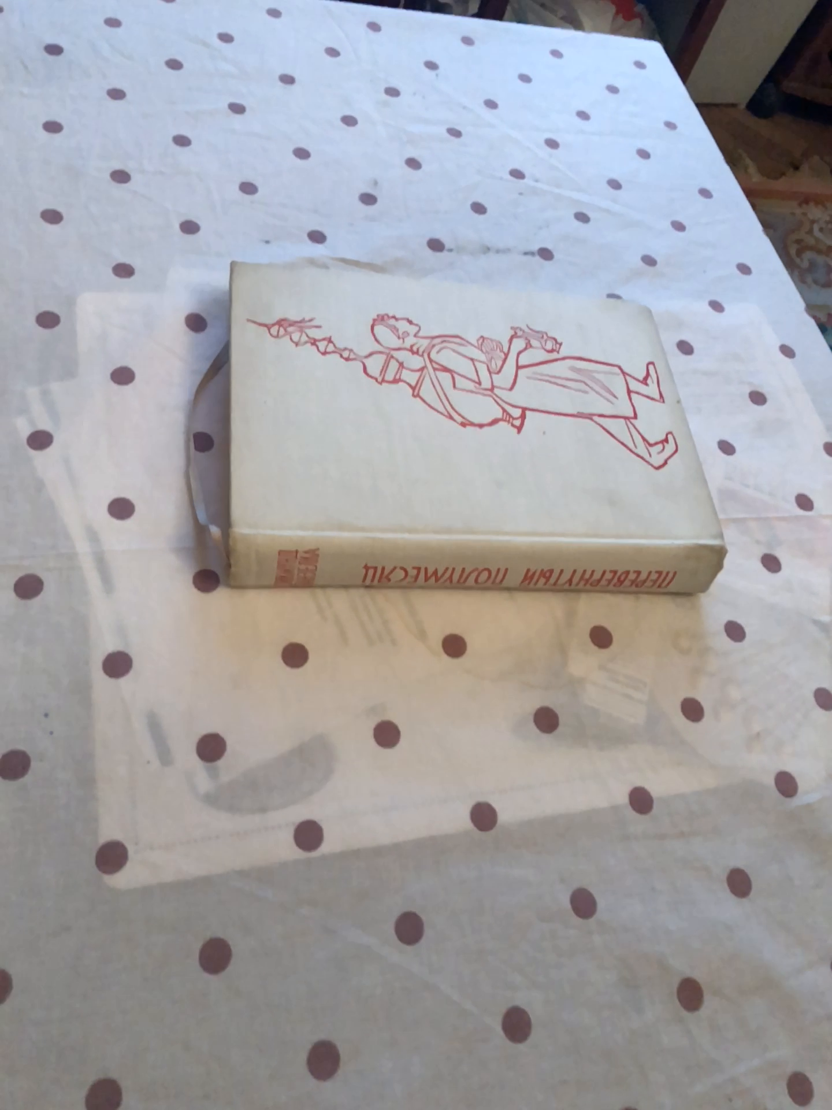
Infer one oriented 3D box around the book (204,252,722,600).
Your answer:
[{"bbox_3d":[0.015,-0.066,0.473,0.240,0.050,0.175,1,59,-13],"label":"book"}]
